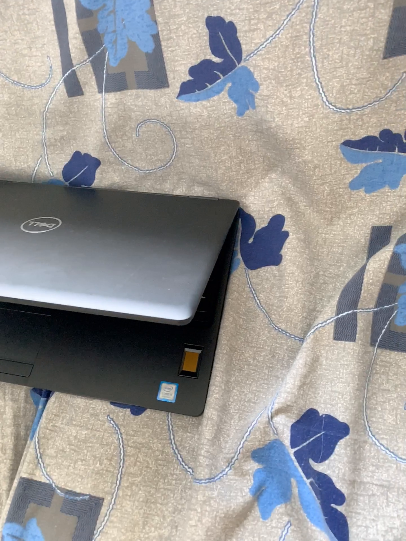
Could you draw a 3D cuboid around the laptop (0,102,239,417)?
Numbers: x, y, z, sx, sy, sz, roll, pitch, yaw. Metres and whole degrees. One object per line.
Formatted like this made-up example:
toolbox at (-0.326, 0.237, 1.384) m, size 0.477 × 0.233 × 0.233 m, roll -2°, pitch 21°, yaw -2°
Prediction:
laptop at (-0.169, -0.019, 0.408) m, size 0.371 × 0.143 × 0.238 m, roll 6°, pitch 65°, yaw 11°
